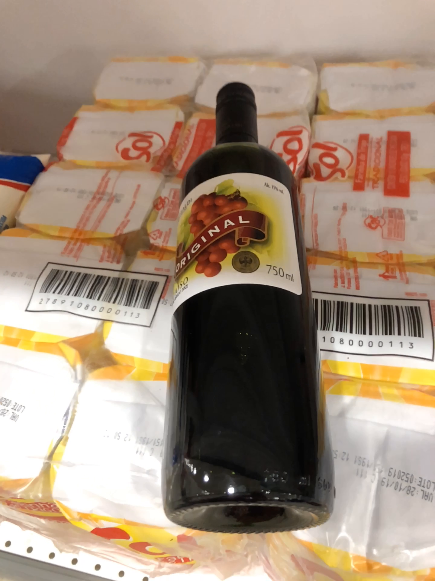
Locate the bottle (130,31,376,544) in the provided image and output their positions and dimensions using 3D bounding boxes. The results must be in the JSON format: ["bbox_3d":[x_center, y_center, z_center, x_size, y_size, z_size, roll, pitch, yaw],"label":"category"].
[{"bbox_3d":[0.019,-0.031,0.300,0.080,0.070,0.322,-19,49,24],"label":"bottle"}]
